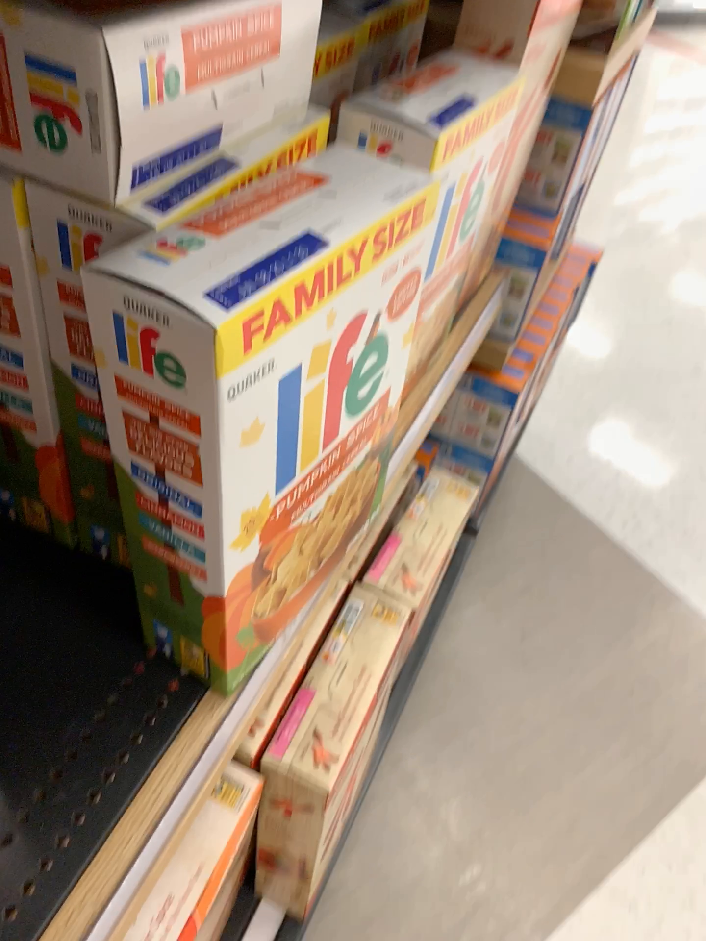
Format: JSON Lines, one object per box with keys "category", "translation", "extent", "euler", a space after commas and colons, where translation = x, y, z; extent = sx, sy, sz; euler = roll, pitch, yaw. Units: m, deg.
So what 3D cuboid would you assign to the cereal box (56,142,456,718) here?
{"category": "cereal box", "translation": [-0.039, -0.021, 0.406], "extent": [0.070, 0.249, 0.201], "euler": [25, 45, 19]}
